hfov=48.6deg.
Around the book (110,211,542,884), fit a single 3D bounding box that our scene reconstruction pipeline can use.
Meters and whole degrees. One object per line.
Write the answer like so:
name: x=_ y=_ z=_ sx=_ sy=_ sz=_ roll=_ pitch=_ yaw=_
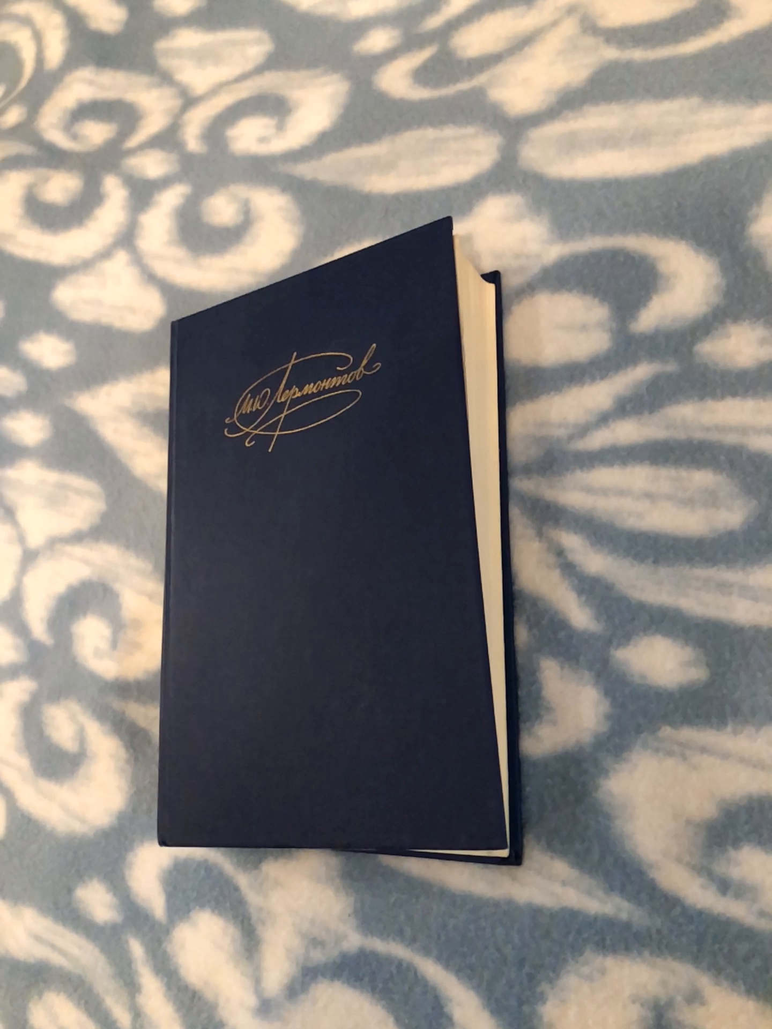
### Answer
book: x=-0.027 y=0.014 z=0.298 sx=0.139 sy=0.040 sz=0.200 roll=-11 pitch=72 yaw=29
